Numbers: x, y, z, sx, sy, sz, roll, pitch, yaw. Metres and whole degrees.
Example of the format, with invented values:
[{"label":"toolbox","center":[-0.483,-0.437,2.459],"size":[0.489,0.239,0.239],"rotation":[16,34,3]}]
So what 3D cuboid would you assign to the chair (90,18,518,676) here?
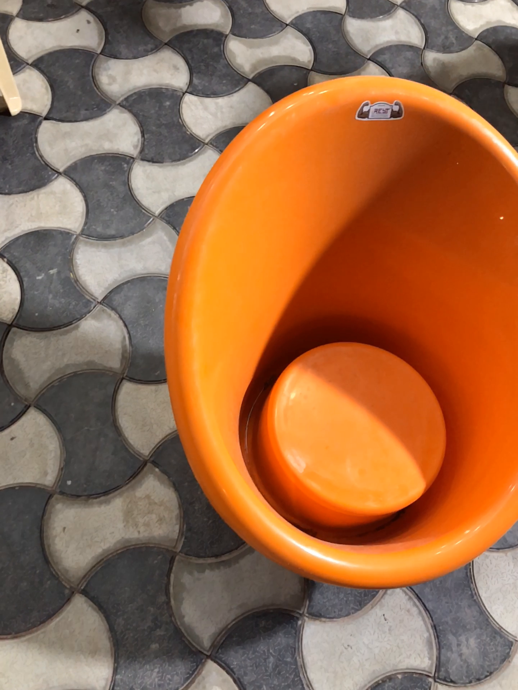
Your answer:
[{"label":"chair","center":[0.149,0.029,0.926],"size":[0.661,0.667,0.722],"rotation":[-8,64,-10]}]
